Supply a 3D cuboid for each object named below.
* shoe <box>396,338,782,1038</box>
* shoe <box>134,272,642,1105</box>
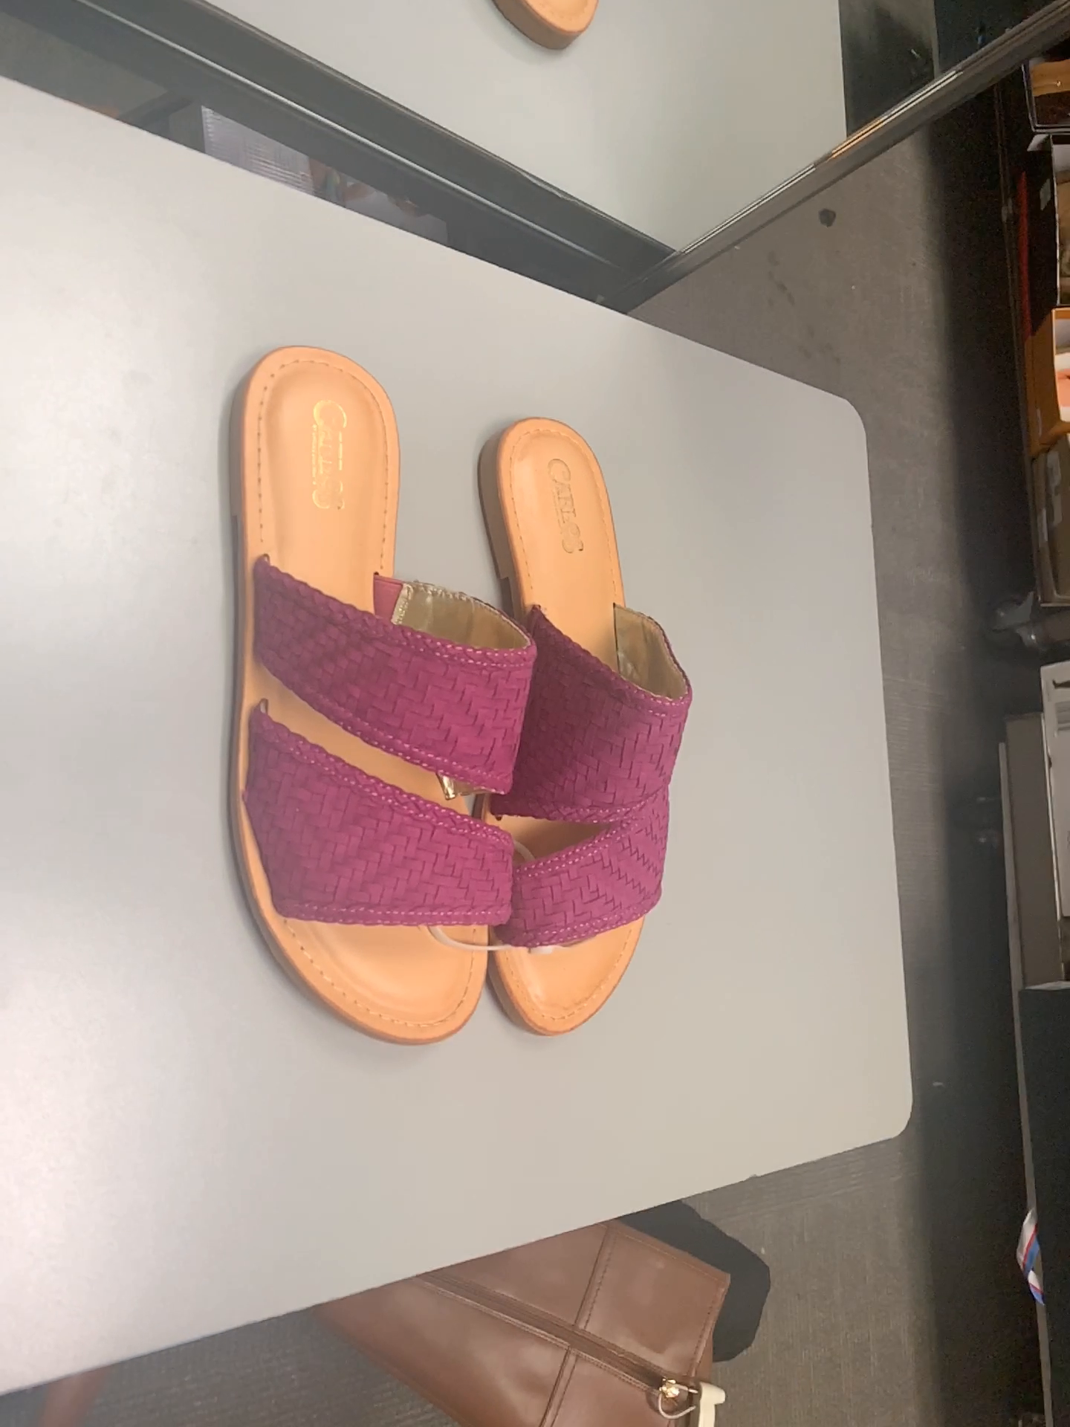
[{"bbox_3d":[0.018,-0.005,0.422,0.109,0.071,0.238,6,74,-40],"label":"shoe"},{"bbox_3d":[-0.050,-0.008,0.366,0.109,0.071,0.238,-5,81,-41],"label":"shoe"}]
